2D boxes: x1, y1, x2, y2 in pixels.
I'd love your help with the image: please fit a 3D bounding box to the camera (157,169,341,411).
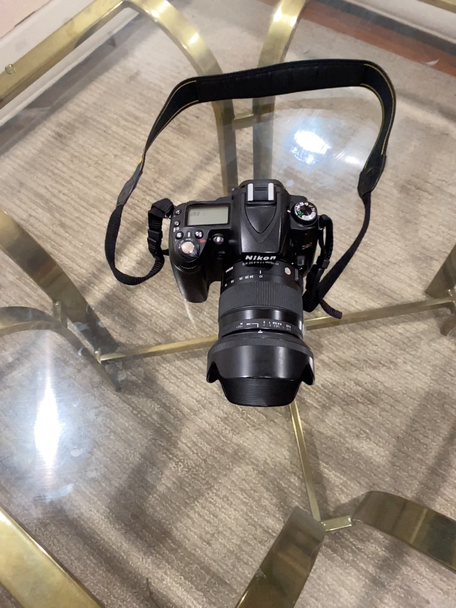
[{"bbox_3d":[0.017,-0.008,0.423,0.130,0.120,0.180,-2,63,3],"label":"camera"}]
